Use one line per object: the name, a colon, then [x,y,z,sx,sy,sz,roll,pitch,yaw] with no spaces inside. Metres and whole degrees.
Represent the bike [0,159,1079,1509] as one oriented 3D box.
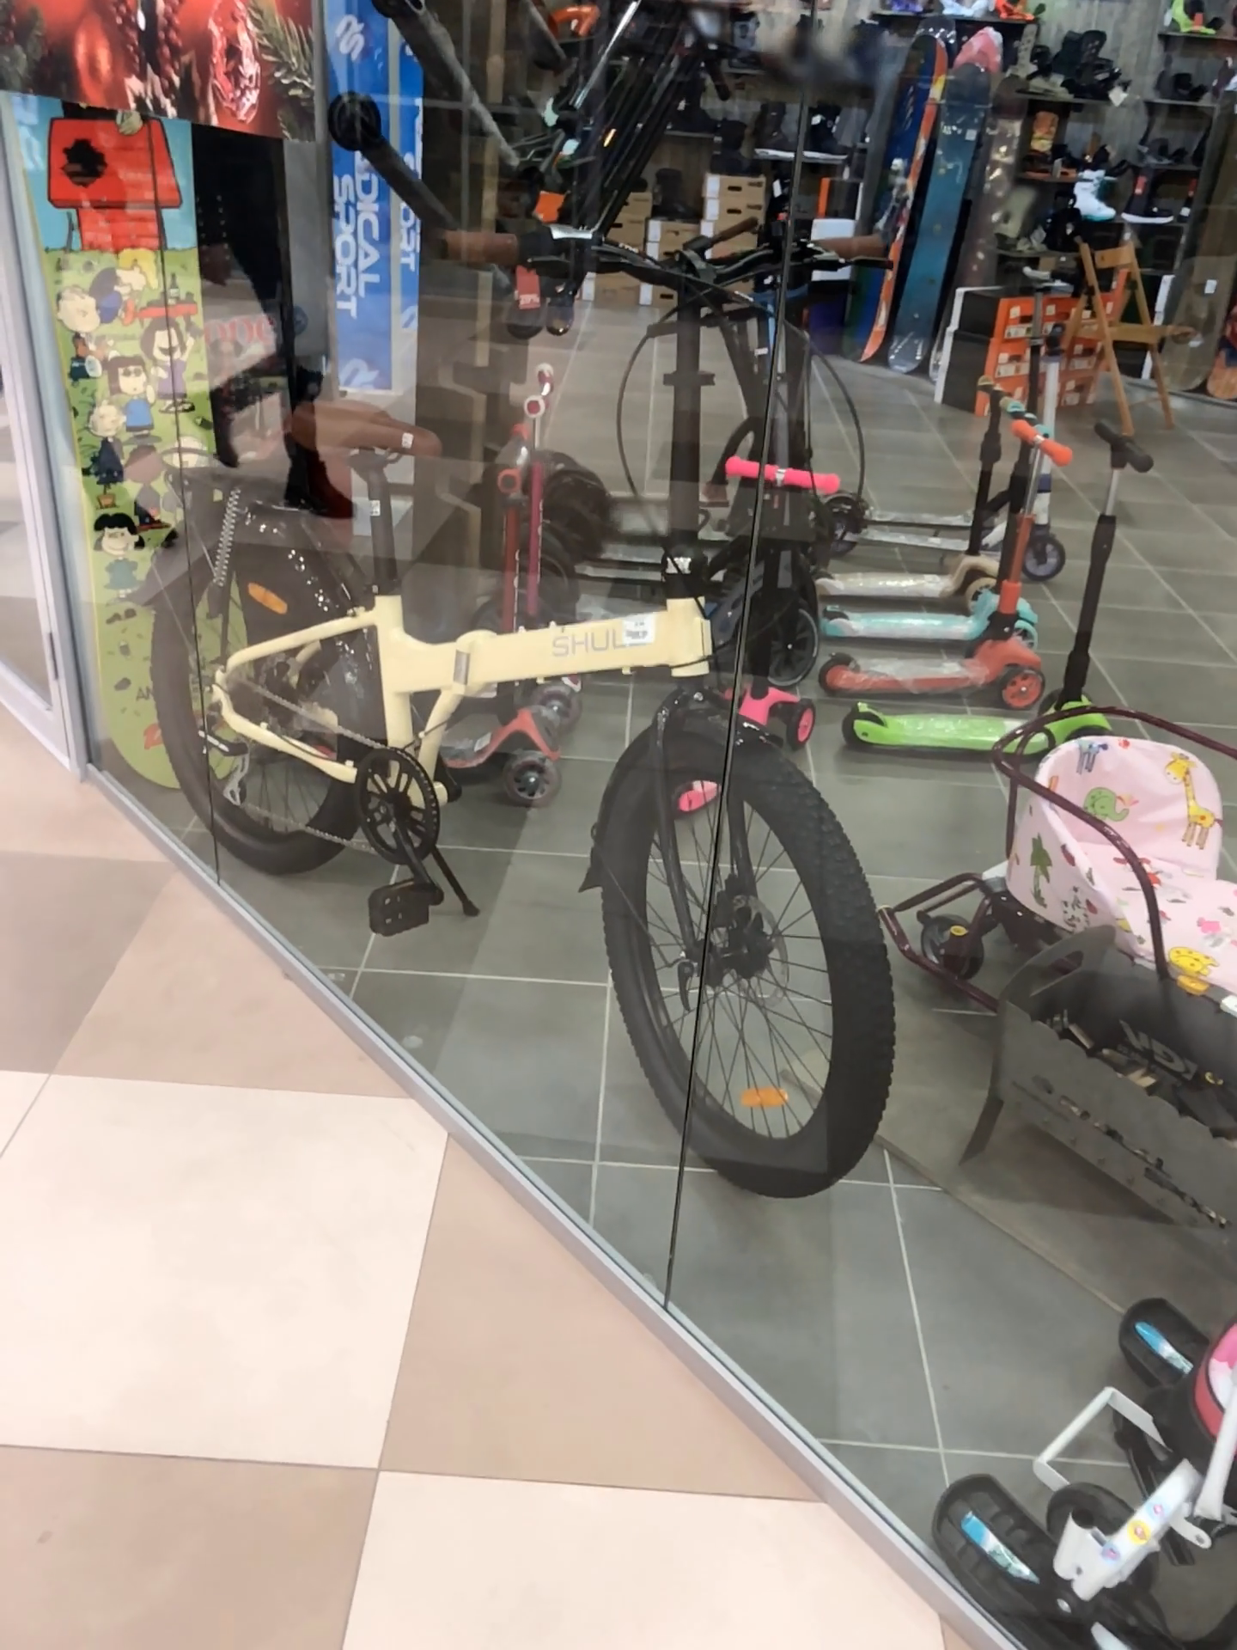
bike: [-0.321,-0.224,1.948,0.594,1.175,1.707,-22,38,-40]
